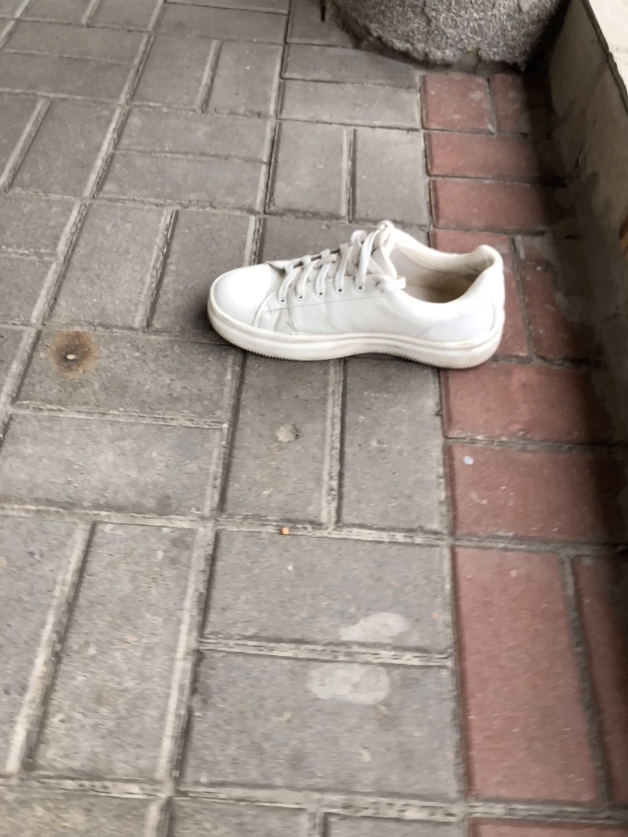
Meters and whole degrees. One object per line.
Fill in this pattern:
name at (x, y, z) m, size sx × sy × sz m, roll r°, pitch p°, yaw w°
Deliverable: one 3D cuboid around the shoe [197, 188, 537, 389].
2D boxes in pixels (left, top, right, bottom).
shoe at (0.045, -0.122, 0.668) m, size 0.292 × 0.119 × 0.111 m, roll 5°, pitch 57°, yaw -3°
